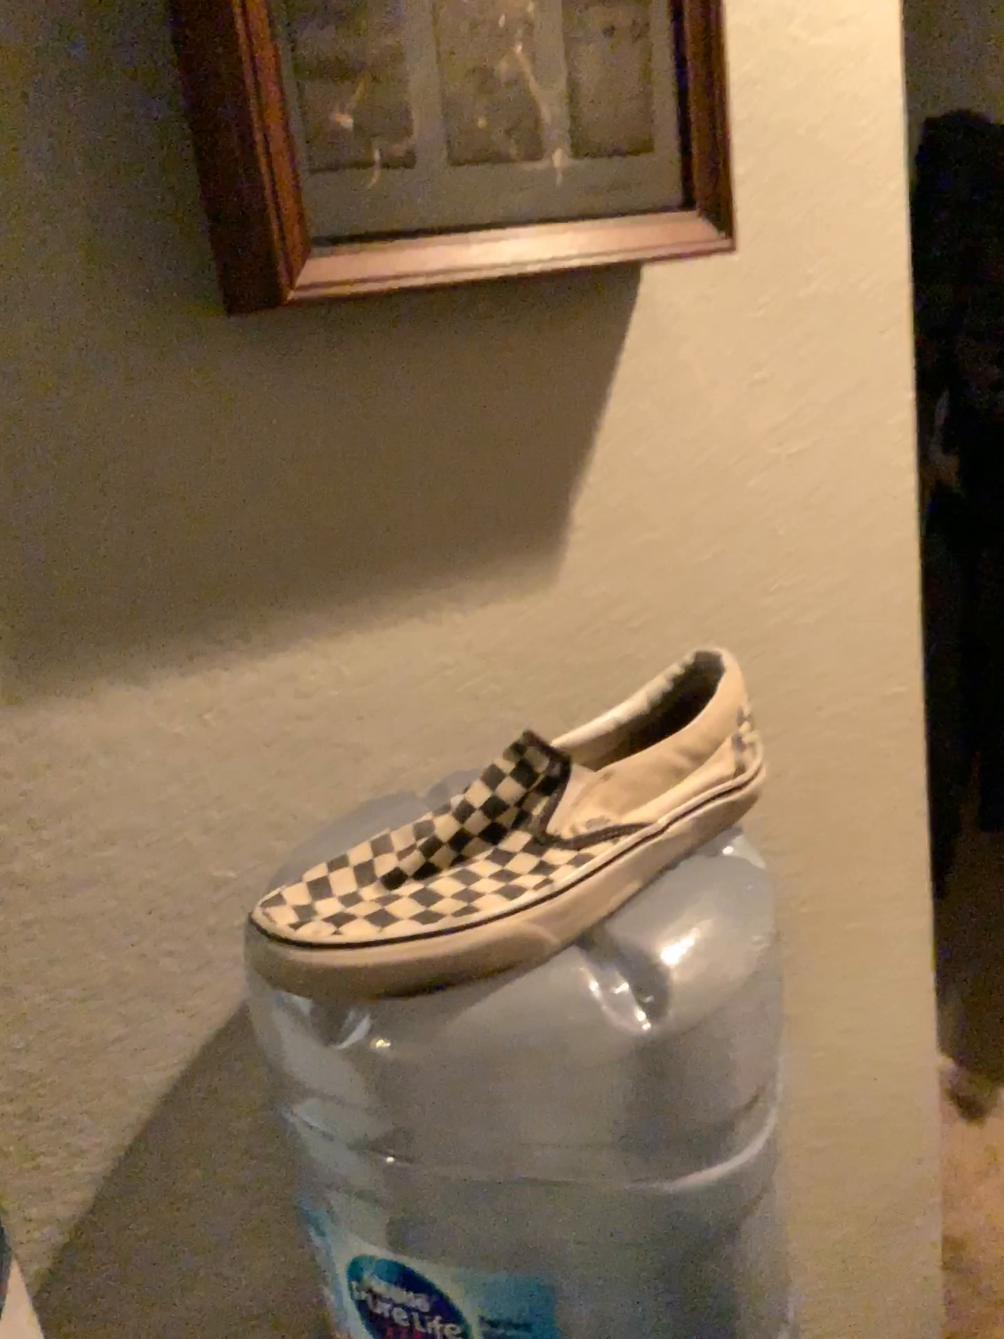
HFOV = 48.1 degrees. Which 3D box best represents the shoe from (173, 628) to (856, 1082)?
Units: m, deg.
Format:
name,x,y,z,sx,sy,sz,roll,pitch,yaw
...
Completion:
name,x,y,z,sx,sy,sz,roll,pitch,yaw
shoe,0.012,0.064,0.520,0.280,0.080,0.130,-17,19,-26
